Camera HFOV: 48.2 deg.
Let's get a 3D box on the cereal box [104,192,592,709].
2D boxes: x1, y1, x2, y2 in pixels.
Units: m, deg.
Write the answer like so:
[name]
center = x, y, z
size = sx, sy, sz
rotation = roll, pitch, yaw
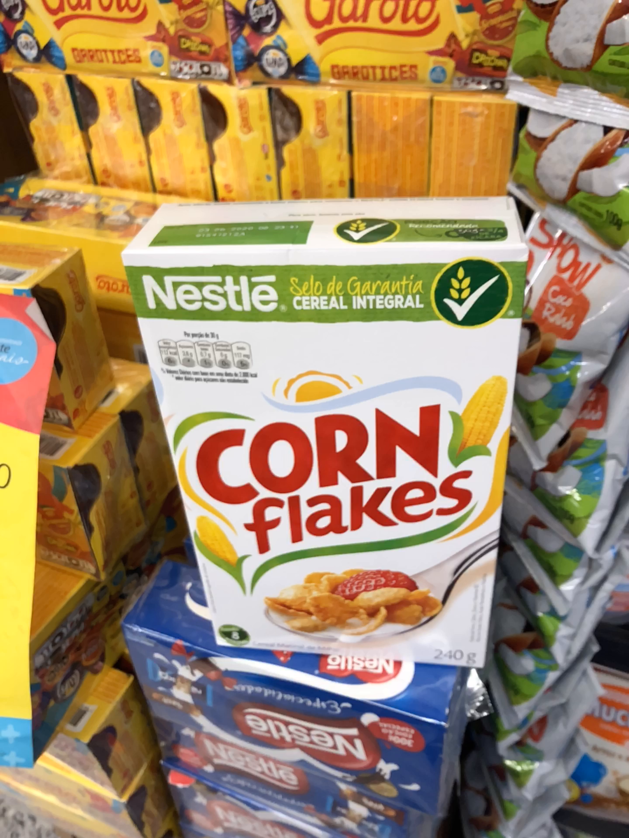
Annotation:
[cereal box]
center = 0.018, 0.026, 0.337
size = 0.170, 0.248, 0.060
rotation = 4, 35, 11
